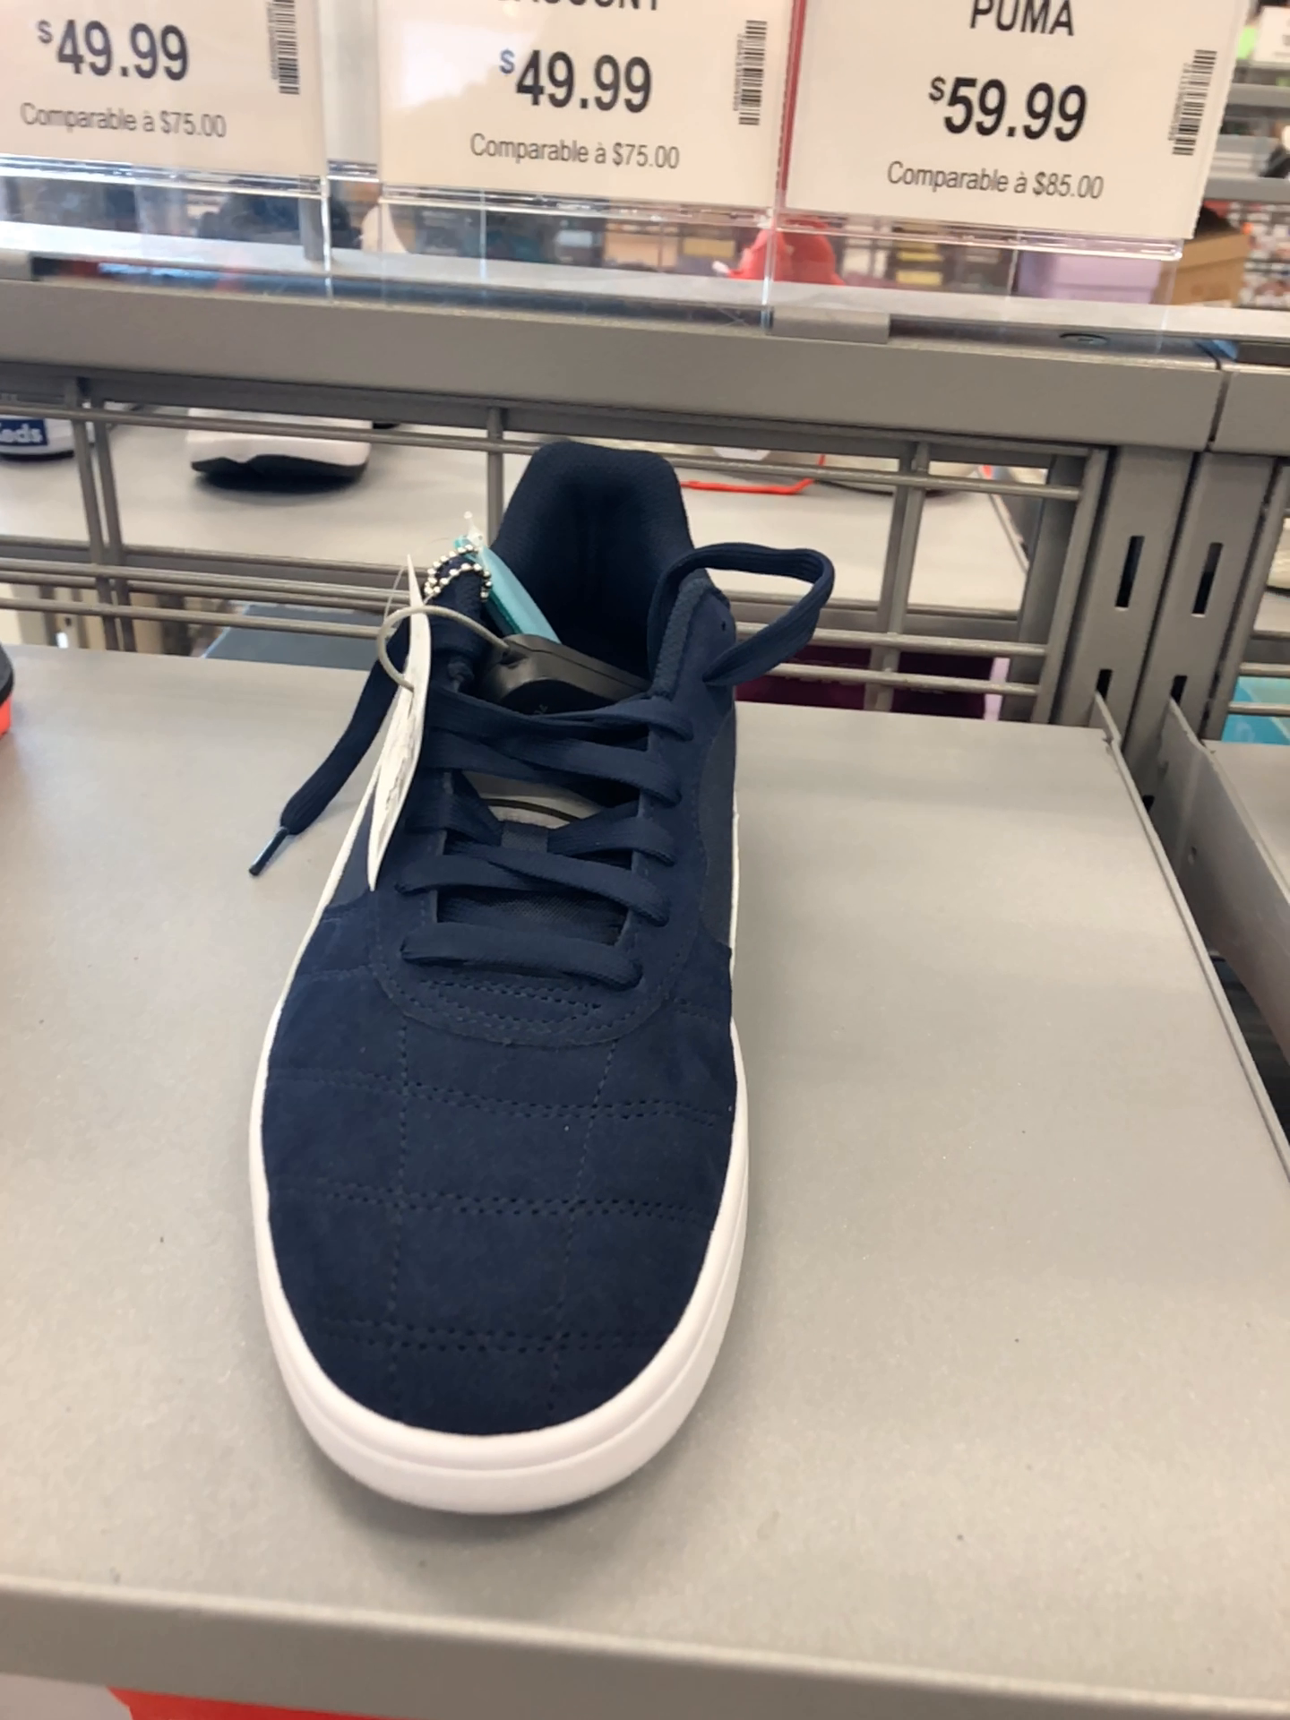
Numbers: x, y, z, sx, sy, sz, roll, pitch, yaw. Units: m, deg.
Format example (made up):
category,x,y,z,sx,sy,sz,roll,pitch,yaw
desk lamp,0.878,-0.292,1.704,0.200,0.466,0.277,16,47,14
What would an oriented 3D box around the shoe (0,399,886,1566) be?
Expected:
category,x,y,z,sx,sy,sz,roll,pitch,yaw
shoe,-0.028,-0.004,0.303,0.119,0.119,0.242,4,31,1
